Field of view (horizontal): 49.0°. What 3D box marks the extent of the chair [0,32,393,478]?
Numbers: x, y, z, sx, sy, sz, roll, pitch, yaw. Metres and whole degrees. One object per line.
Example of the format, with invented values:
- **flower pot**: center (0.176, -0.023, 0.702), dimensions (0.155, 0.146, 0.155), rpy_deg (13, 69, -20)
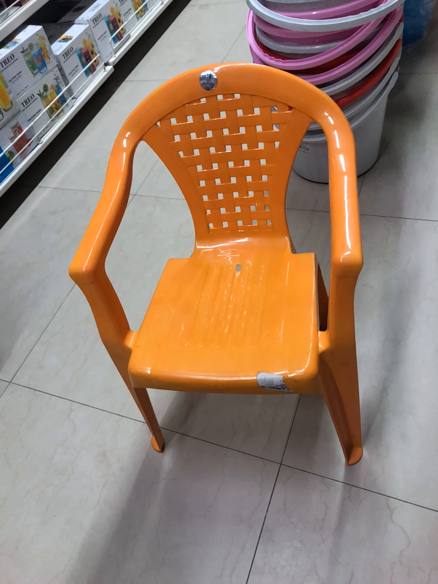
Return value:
- **chair**: center (0.033, -0.025, 0.716), dimensions (0.390, 0.467, 0.402), rpy_deg (0, 52, 17)
